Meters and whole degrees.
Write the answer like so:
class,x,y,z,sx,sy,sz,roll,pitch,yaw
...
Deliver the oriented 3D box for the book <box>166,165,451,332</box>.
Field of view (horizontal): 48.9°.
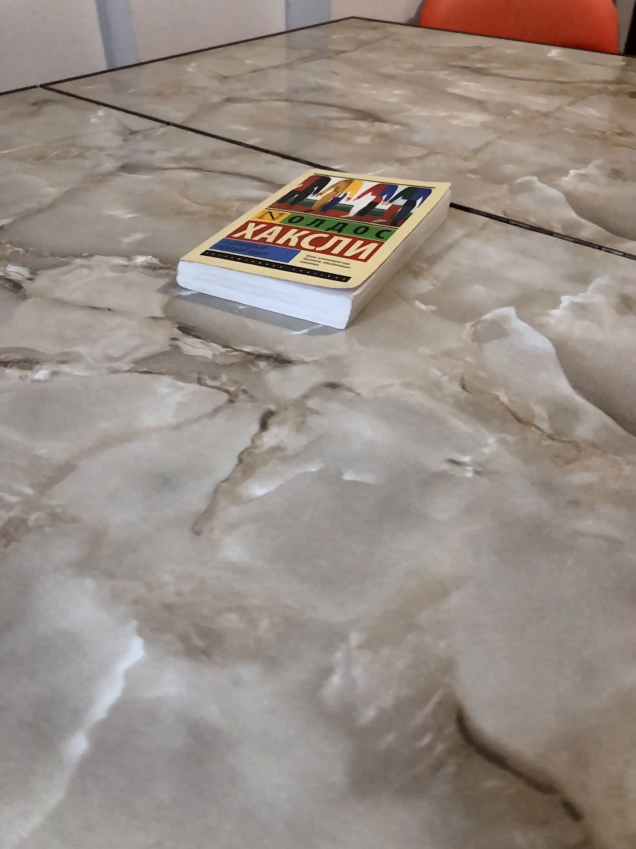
class,x,y,z,sx,sy,sz,roll,pitch,yaw
book,0.003,-0.127,0.469,0.120,0.020,0.185,16,41,20
